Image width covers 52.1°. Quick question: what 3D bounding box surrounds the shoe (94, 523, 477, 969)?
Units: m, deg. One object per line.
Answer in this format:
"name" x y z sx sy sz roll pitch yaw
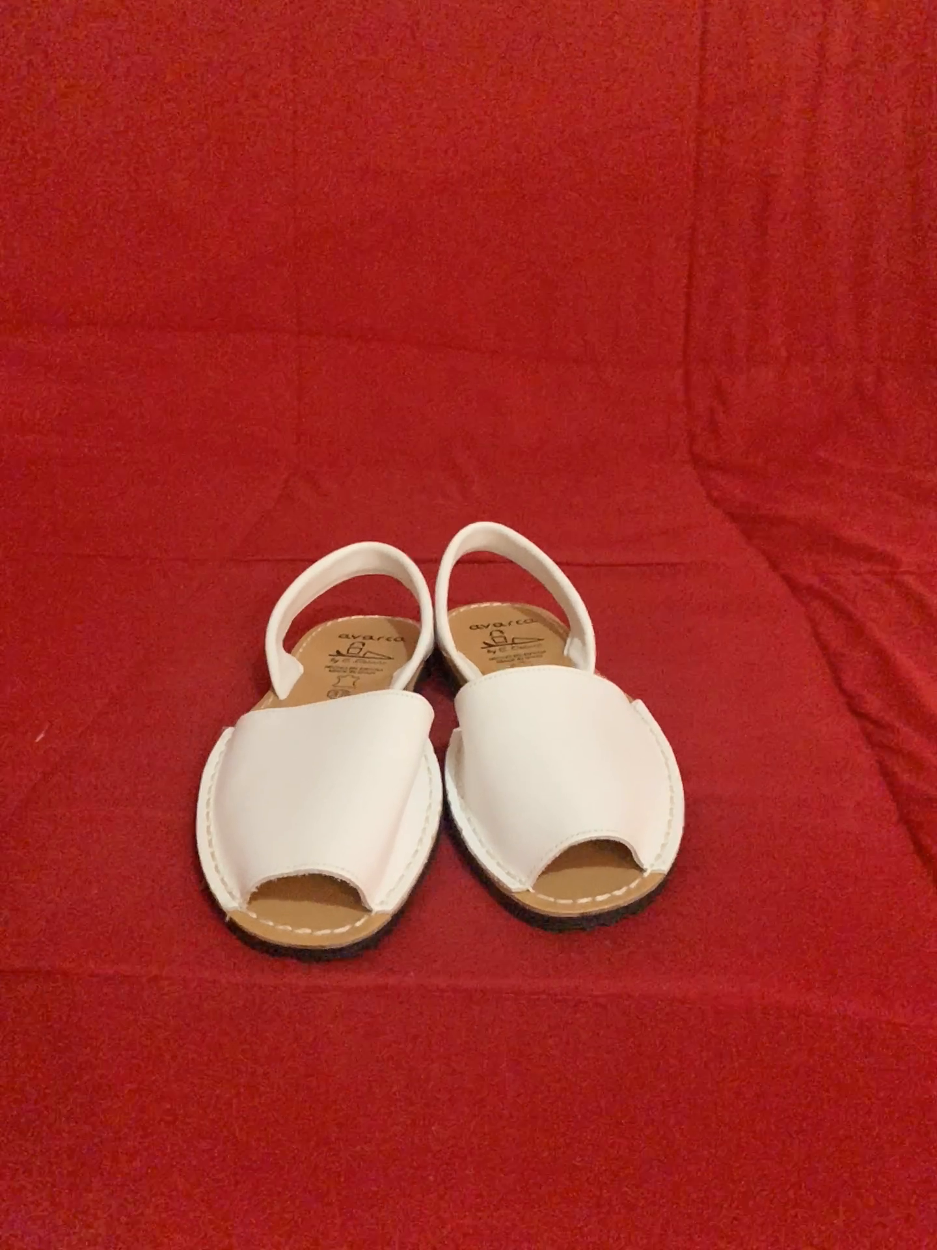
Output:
"shoe" -0.056 0.030 0.422 0.108 0.063 0.249 2 27 3

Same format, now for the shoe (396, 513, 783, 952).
"shoe" 0.033 0.025 0.435 0.103 0.063 0.250 -4 27 -9
